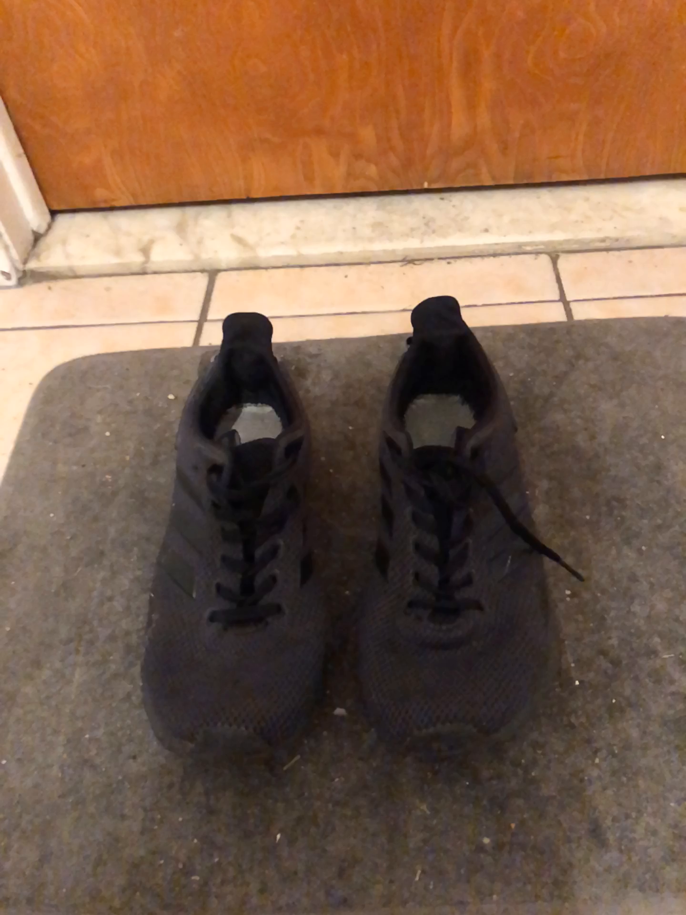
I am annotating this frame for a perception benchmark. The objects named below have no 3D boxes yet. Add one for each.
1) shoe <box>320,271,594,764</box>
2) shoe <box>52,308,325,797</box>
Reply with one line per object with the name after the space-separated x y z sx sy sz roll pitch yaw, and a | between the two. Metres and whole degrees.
0.059 0.021 0.437 0.110 0.119 0.262 -1 48 7 | shoe
-0.072 0.042 0.448 0.110 0.119 0.262 -3 48 -1 | shoe
